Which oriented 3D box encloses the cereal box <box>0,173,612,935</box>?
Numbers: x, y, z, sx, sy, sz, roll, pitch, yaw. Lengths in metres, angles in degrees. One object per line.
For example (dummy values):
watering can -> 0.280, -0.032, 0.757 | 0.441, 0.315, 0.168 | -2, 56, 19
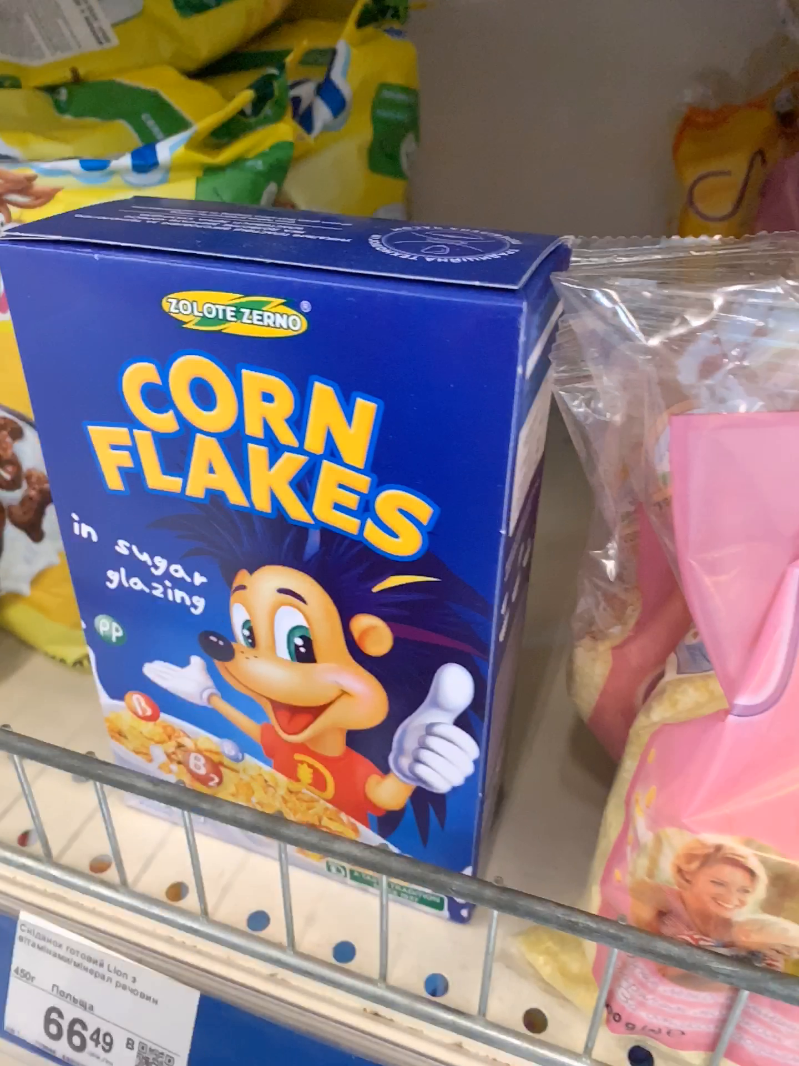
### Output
cereal box -> -0.029, 0.006, 0.203 | 0.130, 0.159, 0.050 | 12, 34, 17
